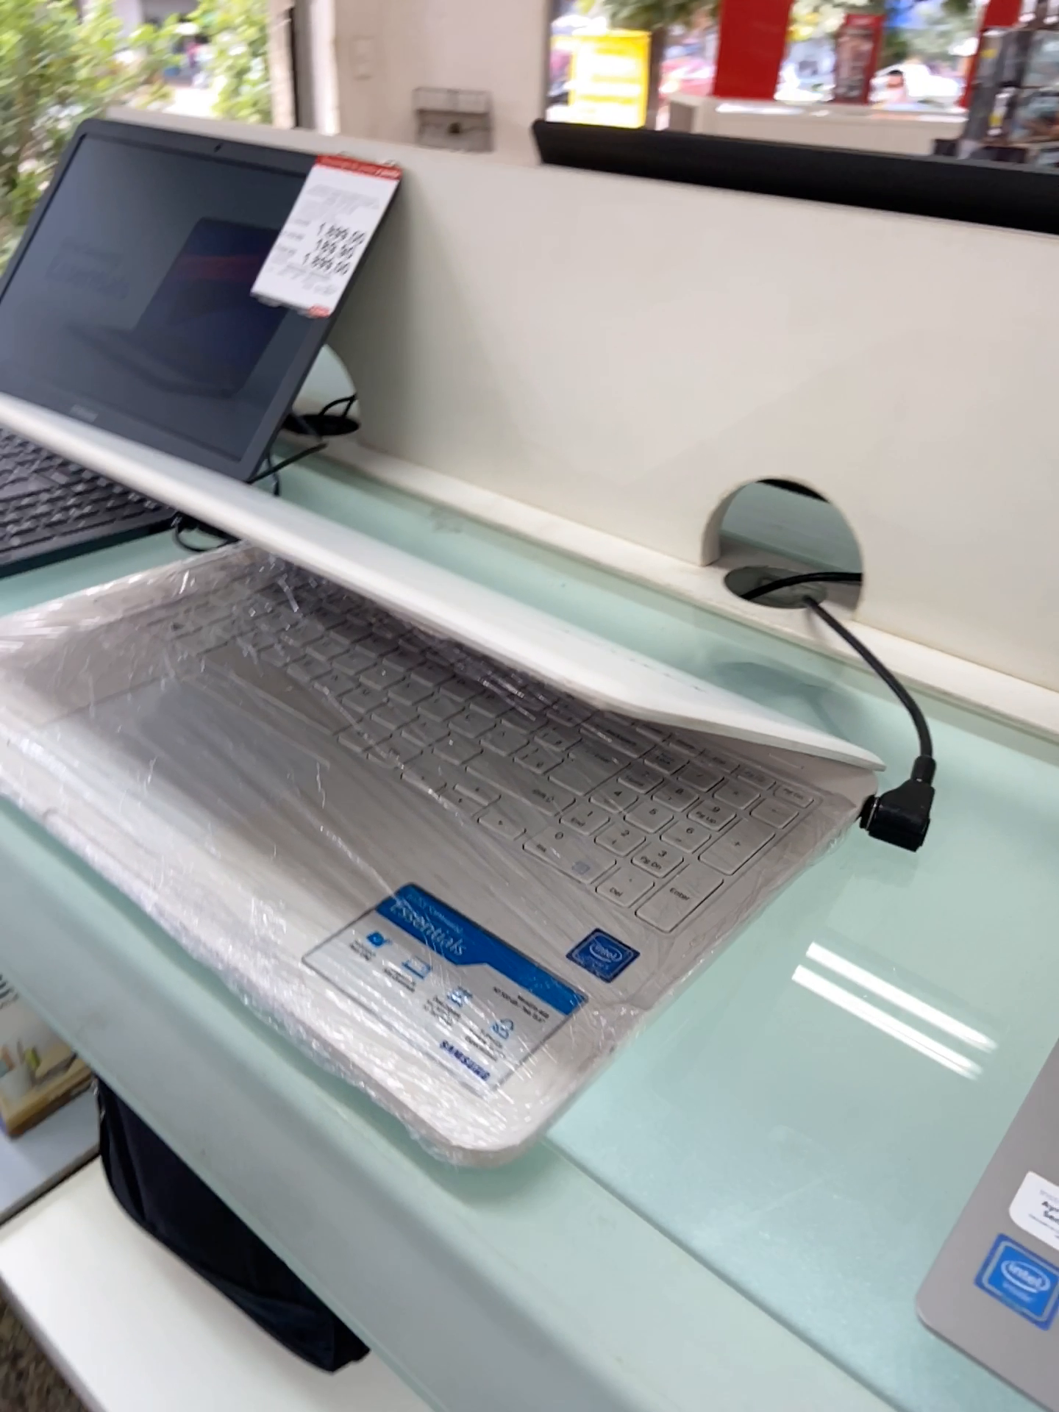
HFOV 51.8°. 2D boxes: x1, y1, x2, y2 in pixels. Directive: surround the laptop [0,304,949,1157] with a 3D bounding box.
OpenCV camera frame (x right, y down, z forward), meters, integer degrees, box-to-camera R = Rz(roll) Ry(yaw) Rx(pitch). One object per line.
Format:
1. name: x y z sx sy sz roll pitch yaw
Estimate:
1. laptop: -0.076 -0.048 0.439 0.373 0.129 0.248 25 37 32
